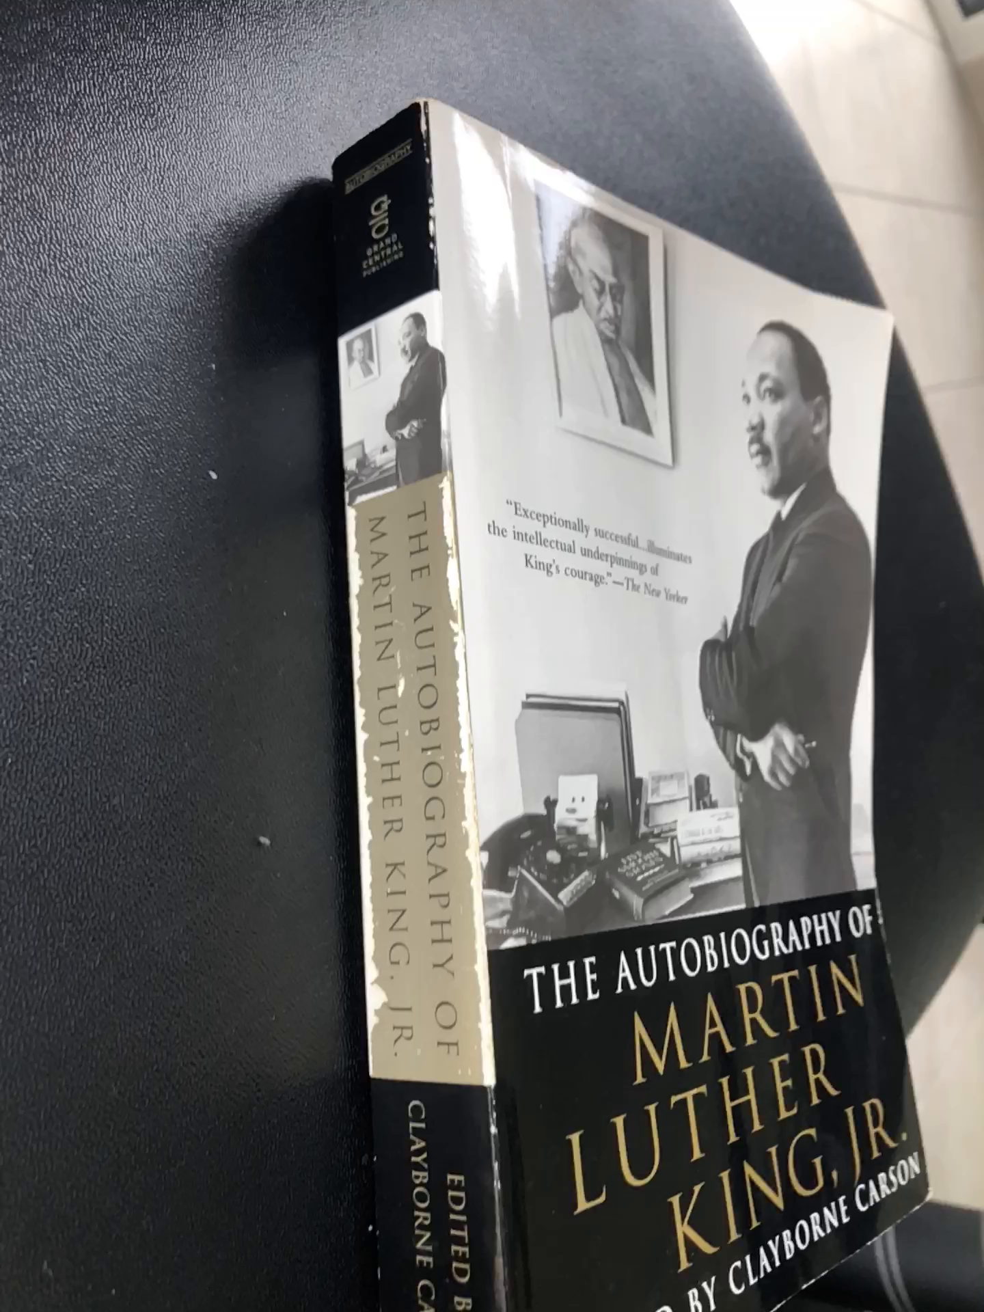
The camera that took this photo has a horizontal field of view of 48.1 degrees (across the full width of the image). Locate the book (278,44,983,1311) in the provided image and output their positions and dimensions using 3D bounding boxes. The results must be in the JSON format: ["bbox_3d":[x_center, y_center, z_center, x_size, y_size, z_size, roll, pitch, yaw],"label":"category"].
[{"bbox_3d":[0.038,0.019,0.242,0.161,0.050,0.230,6,78,-40],"label":"book"}]
